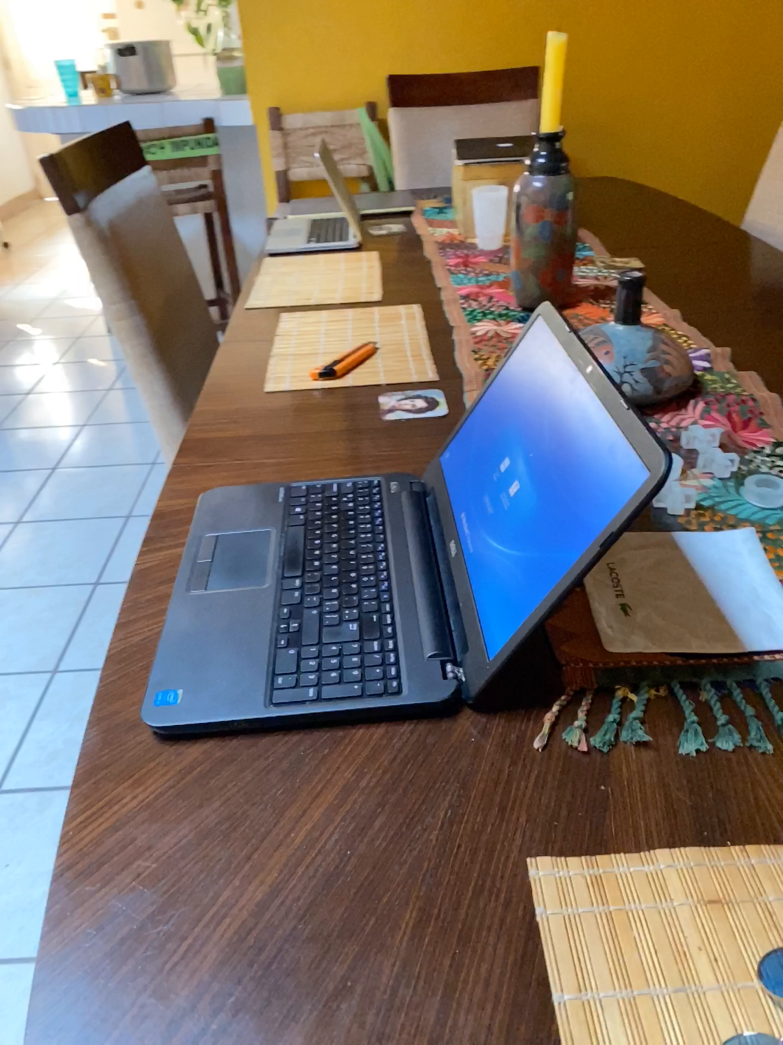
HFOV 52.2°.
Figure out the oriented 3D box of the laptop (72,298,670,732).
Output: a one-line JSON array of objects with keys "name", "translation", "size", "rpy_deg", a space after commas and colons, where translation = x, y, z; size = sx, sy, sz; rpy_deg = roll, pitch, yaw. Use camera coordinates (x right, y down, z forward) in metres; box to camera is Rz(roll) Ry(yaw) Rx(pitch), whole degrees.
[{"name": "laptop", "translation": [-0.019, -0.037, 0.732], "size": [0.395, 0.194, 0.369], "rpy_deg": [-5, 33, -2]}]
